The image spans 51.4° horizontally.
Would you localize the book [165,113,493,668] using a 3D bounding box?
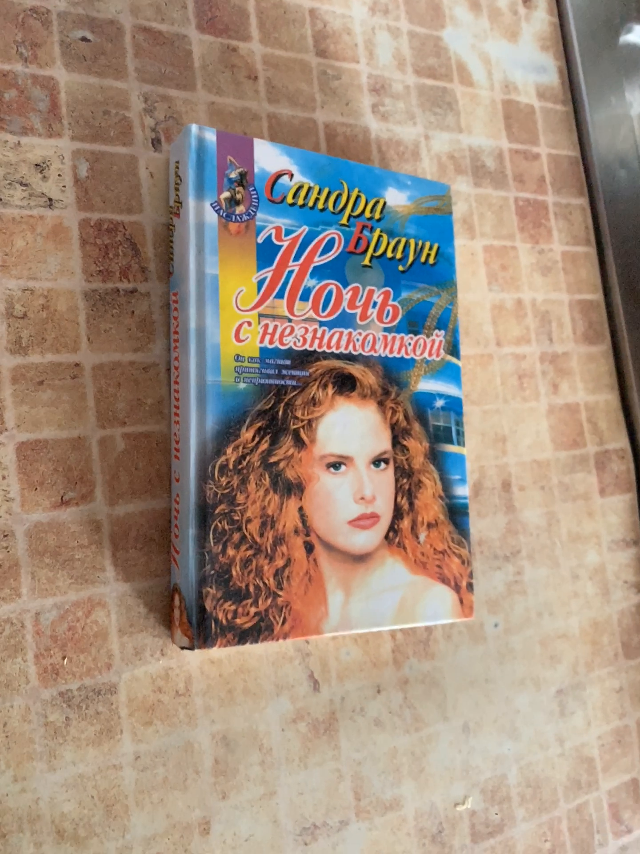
[{"bbox_3d":[0.005,-0.014,0.275,0.131,0.029,0.198,2,82,-26],"label":"book"}]
